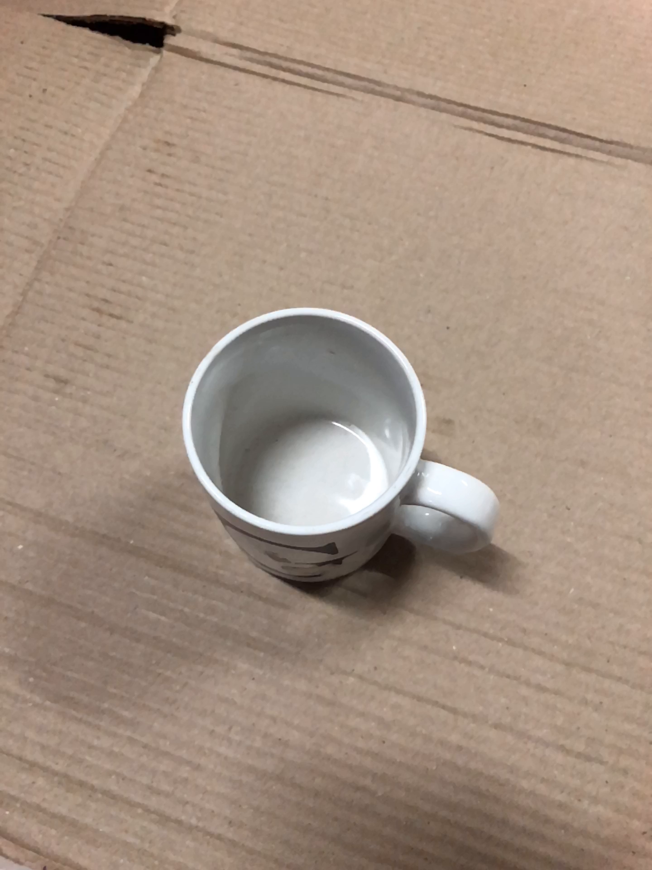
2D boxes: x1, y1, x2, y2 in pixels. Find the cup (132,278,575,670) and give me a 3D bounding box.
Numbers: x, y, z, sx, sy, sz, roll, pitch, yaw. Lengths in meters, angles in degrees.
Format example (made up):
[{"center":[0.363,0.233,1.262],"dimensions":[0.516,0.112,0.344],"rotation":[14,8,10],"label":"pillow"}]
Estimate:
[{"center":[0.011,0.016,0.247],"dimensions":[0.110,0.080,0.080],"rotation":[17,65,8],"label":"cup"}]
